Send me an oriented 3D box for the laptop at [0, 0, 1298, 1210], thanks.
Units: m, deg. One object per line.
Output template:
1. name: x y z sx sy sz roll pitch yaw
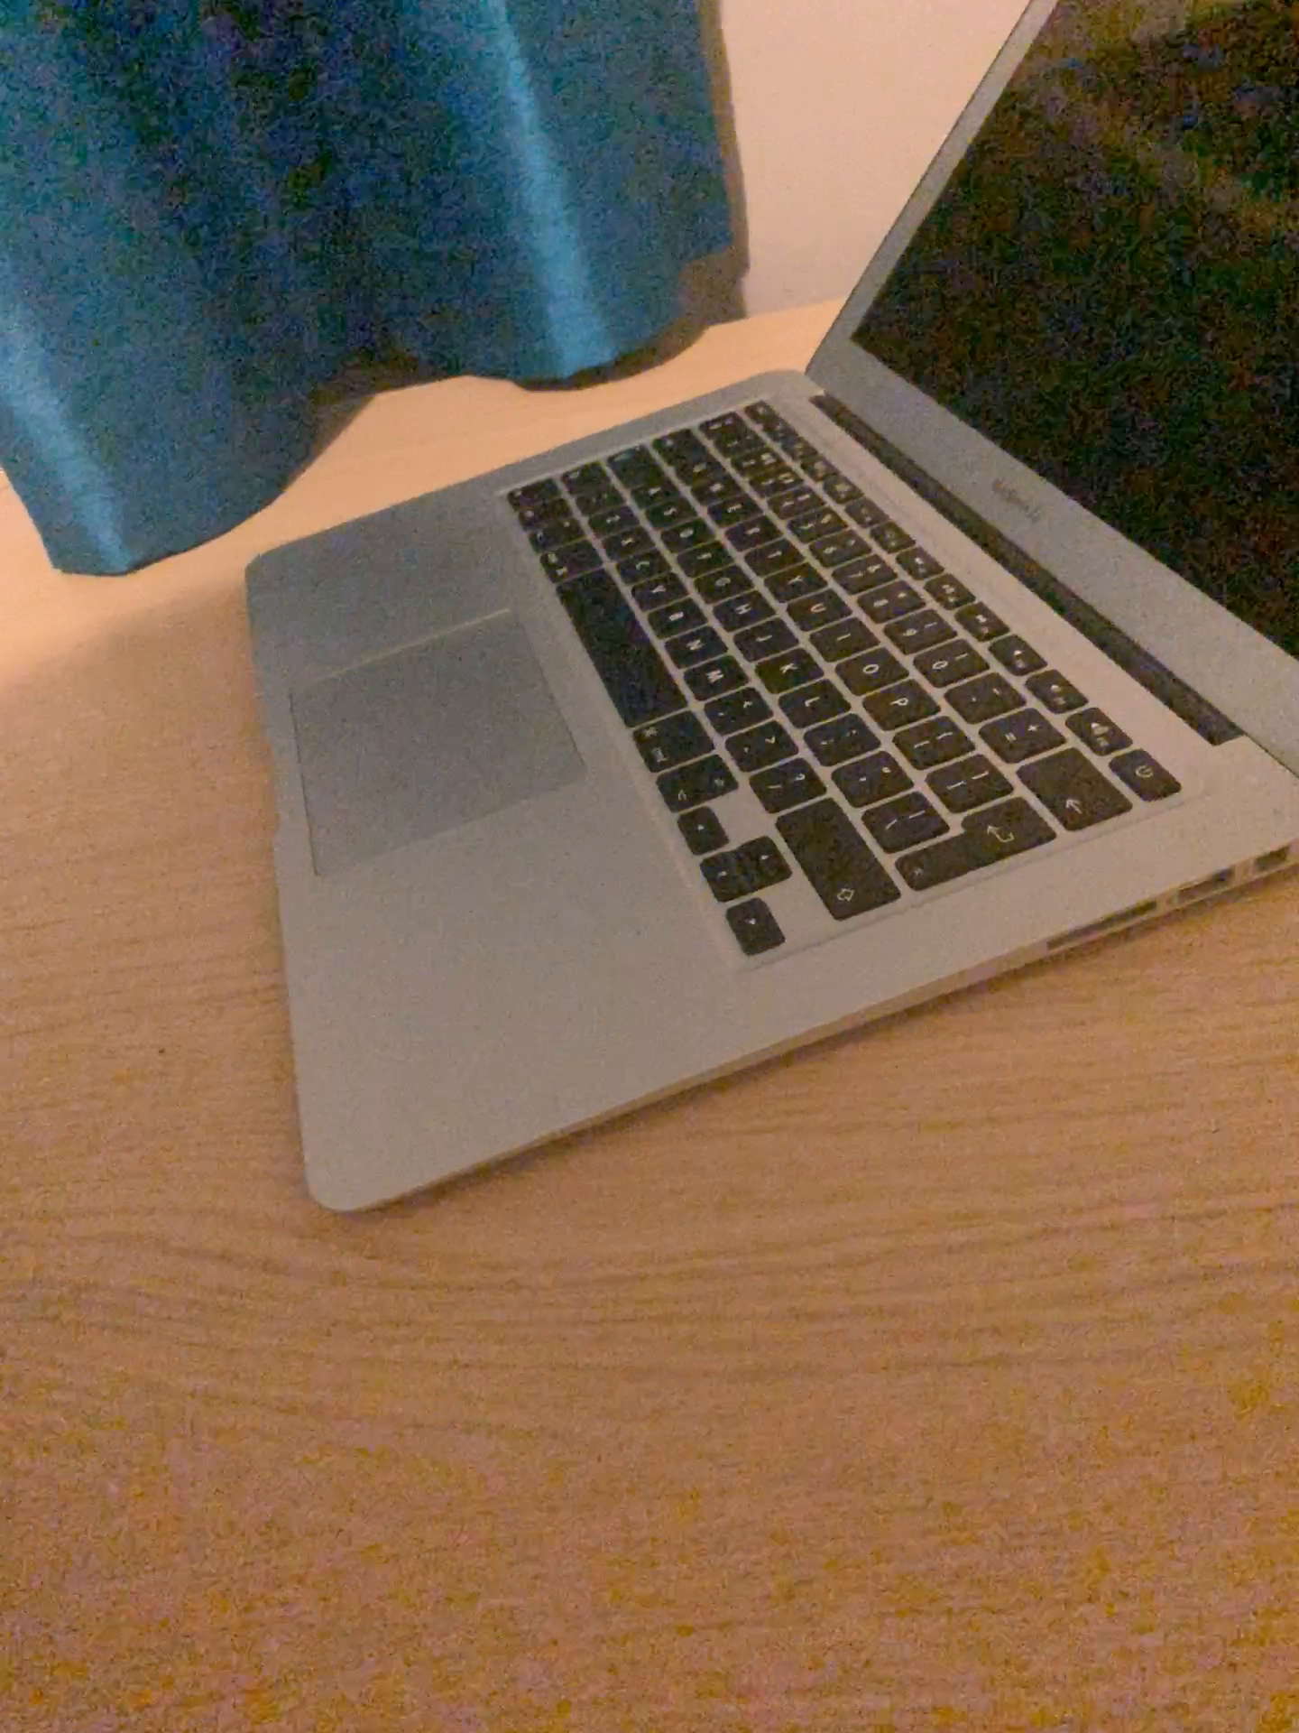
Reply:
1. laptop: 0.053 -0.141 0.343 0.368 0.144 0.304 -20 39 -6
